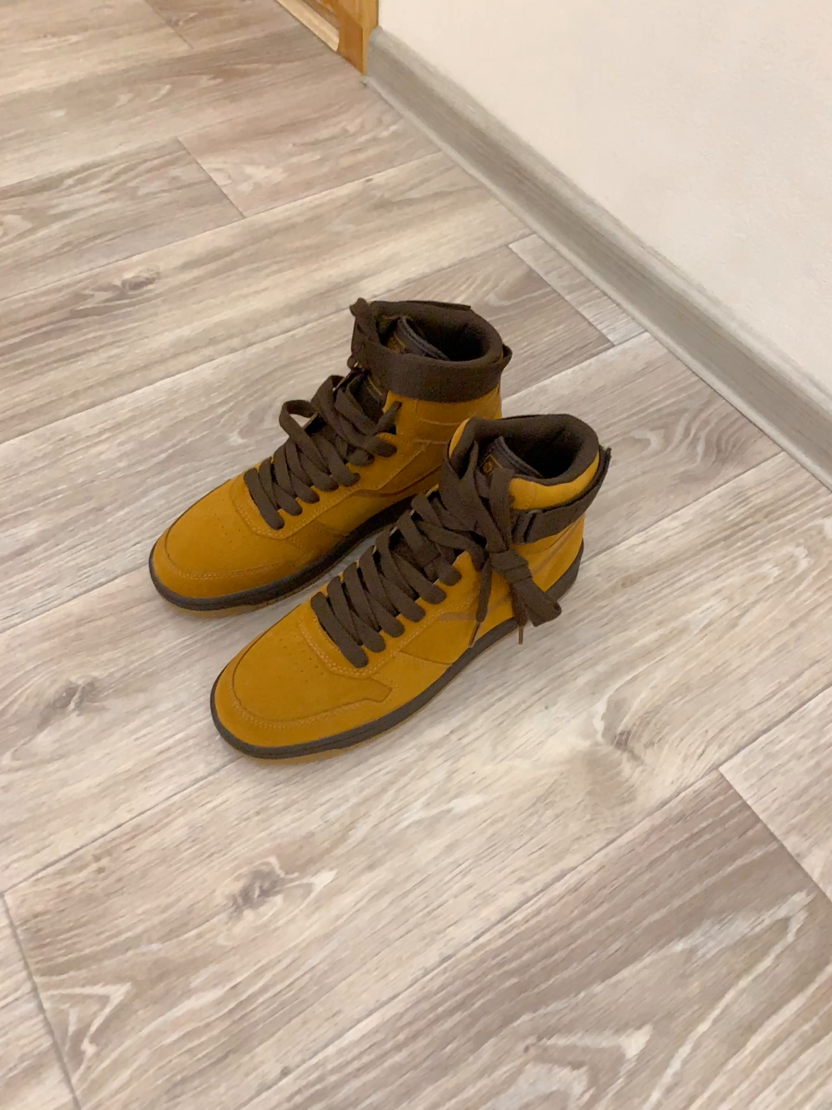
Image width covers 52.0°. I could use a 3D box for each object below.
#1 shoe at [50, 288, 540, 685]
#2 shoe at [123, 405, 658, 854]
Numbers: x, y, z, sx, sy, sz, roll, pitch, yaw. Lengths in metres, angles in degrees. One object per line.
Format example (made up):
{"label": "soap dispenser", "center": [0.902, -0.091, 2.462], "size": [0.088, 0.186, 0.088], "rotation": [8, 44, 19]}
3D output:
{"label": "shoe", "center": [-0.069, -0.051, 0.572], "size": [0.280, 0.139, 0.101], "rotation": [-27, 59, -21]}
{"label": "shoe", "center": [-0.009, 0.040, 0.519], "size": [0.280, 0.139, 0.101], "rotation": [-27, 59, -21]}
